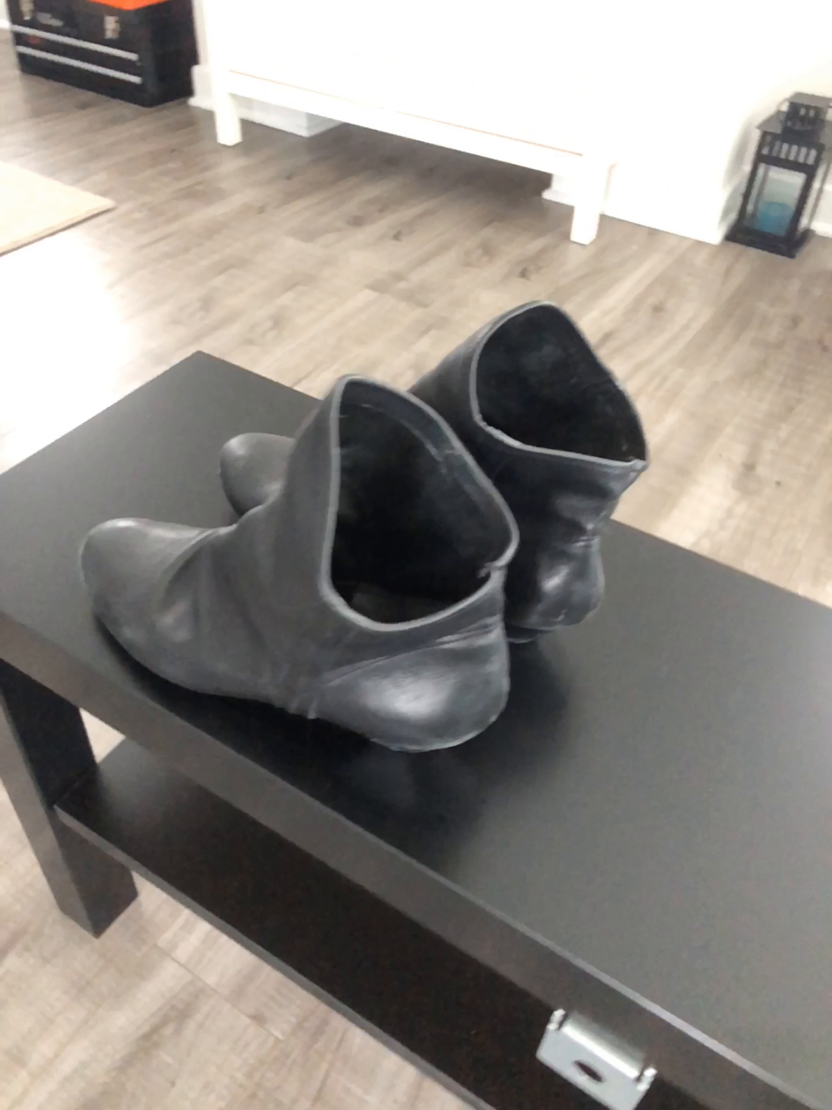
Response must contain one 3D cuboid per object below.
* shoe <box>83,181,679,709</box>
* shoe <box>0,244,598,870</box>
[{"bbox_3d":[-0.022,-0.061,0.467,0.250,0.169,0.101,23,46,20],"label":"shoe"},{"bbox_3d":[-0.074,-0.006,0.406,0.260,0.169,0.101,23,46,20],"label":"shoe"}]
